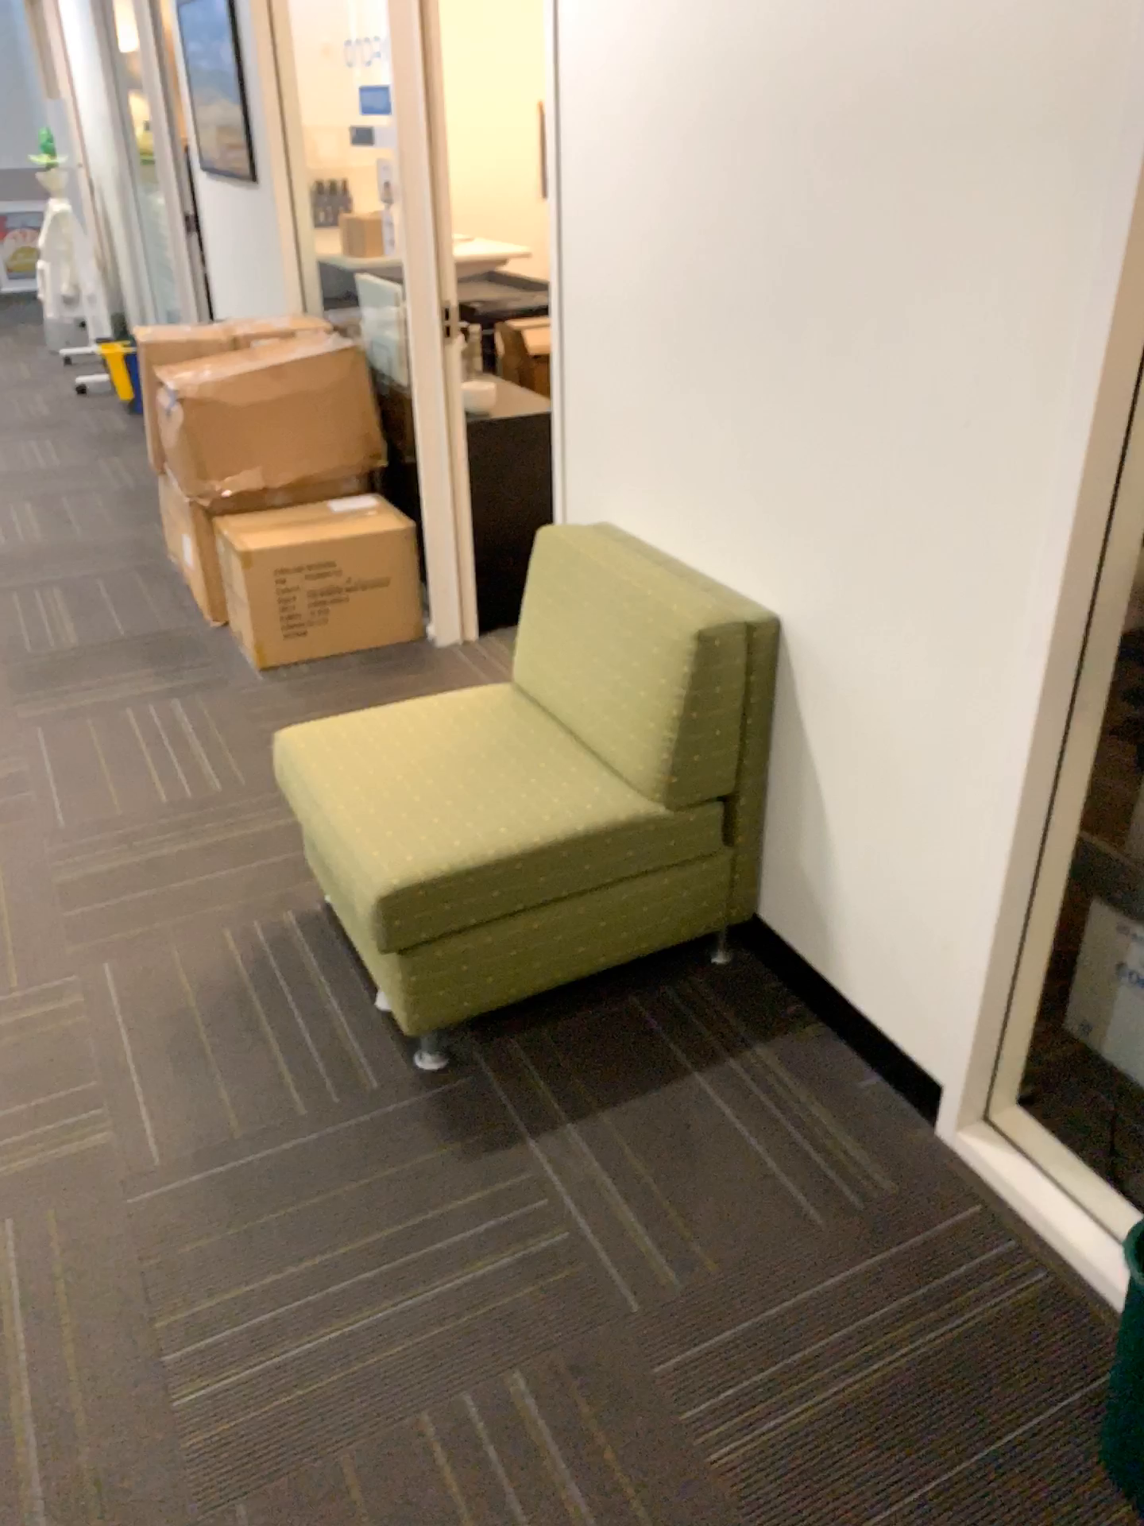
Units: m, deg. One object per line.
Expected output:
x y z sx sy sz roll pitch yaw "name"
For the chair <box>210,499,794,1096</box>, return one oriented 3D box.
-0.148 -0.005 2.210 0.780 0.686 0.734 -15 32 -23 "chair"
